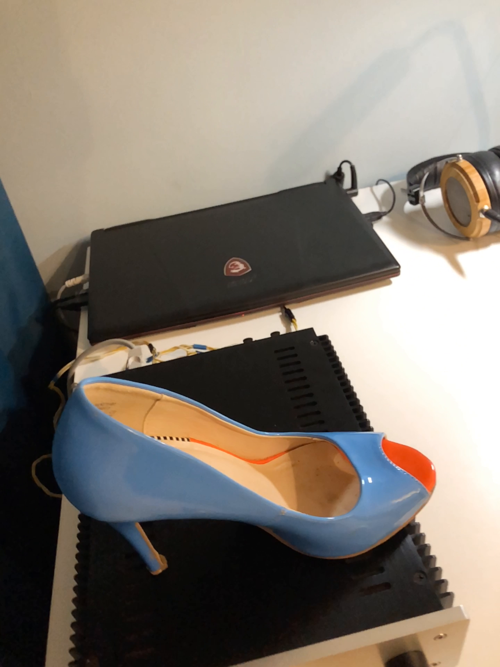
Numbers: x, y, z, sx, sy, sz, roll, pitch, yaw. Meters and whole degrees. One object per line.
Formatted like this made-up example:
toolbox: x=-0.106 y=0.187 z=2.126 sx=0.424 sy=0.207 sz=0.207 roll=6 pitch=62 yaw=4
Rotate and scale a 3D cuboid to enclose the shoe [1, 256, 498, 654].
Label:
shoe: x=0.006 y=0.069 z=0.310 sx=0.220 sy=0.149 sz=0.081 roll=-17 pitch=40 yaw=-7
